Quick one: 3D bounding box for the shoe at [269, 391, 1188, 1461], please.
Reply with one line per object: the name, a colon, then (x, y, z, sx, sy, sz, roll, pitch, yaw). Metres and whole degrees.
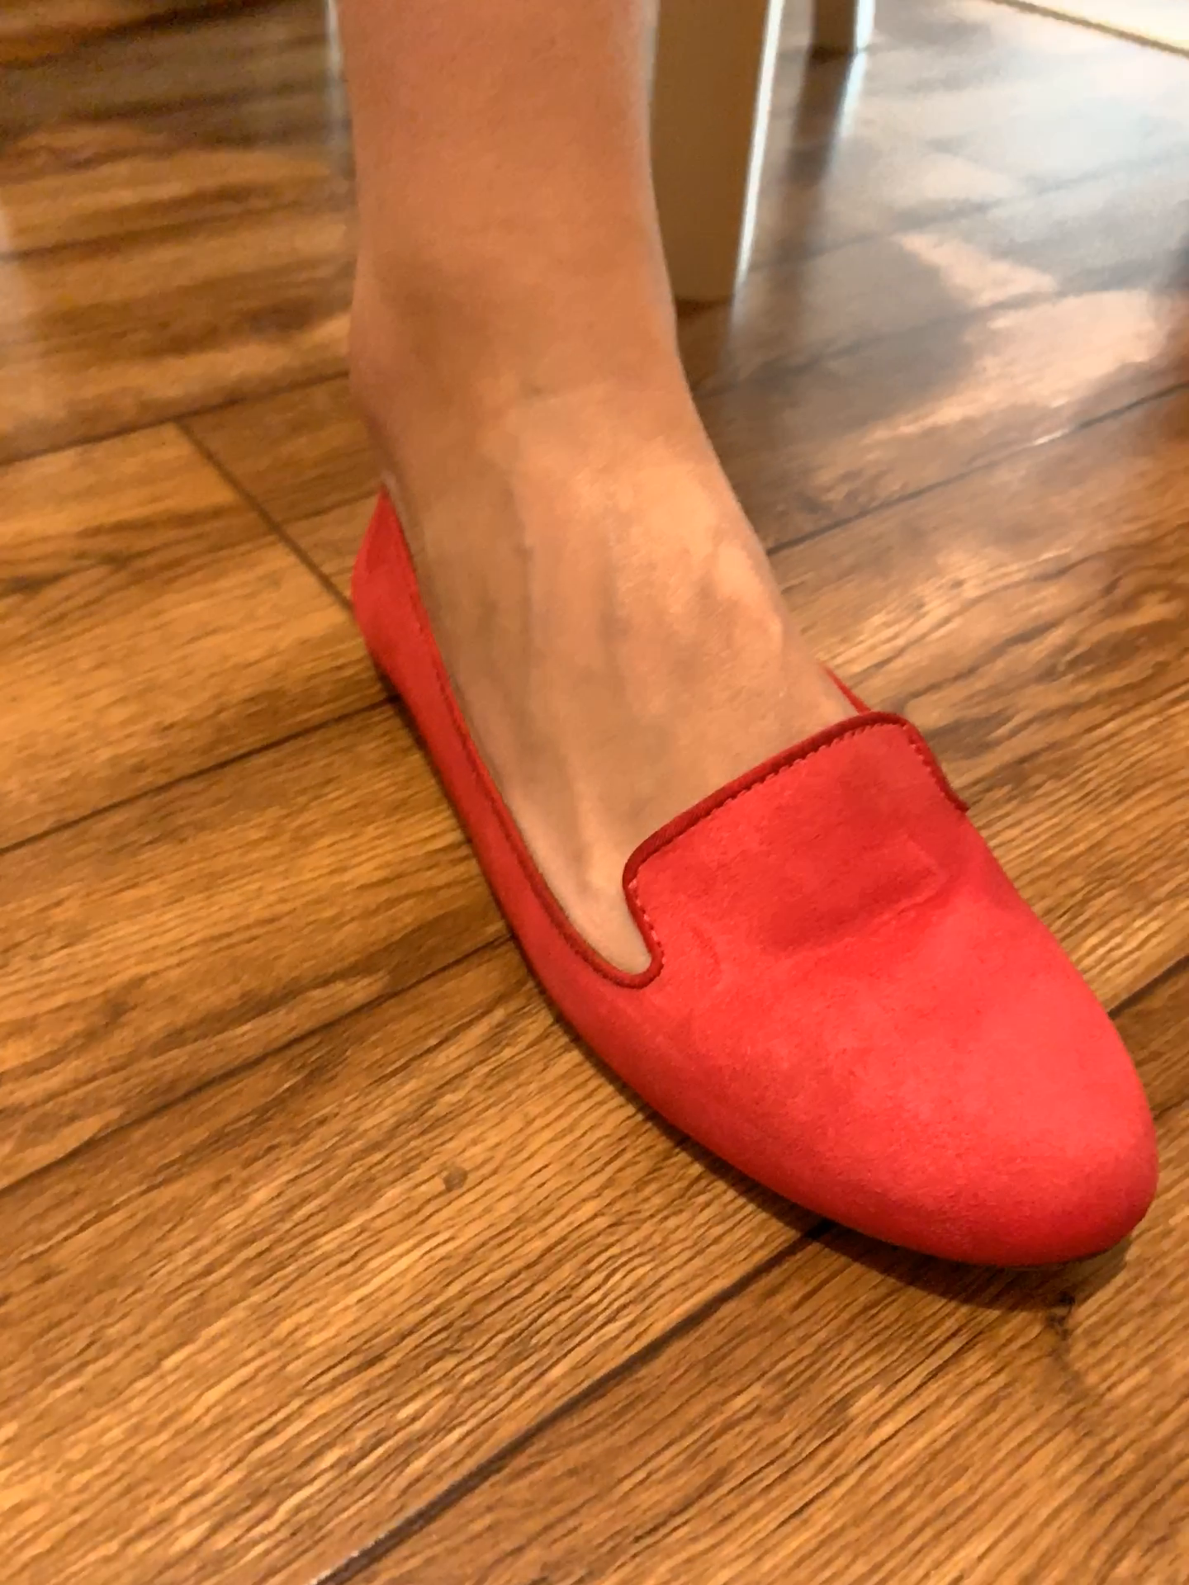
shoe: (0.018, 0.000, 0.254, 0.086, 0.060, 0.221, -21, 48, -23)
